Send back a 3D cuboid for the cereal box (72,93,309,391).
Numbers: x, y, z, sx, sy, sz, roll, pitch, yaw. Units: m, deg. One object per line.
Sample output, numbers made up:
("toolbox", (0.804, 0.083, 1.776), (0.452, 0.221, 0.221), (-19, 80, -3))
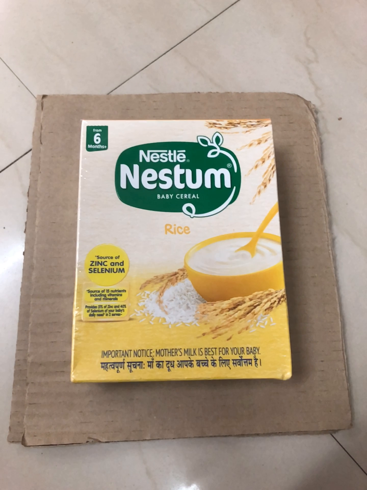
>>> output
("cereal box", (0.002, -0.005, 0.312), (0.150, 0.060, 0.210), (0, 77, -3))
